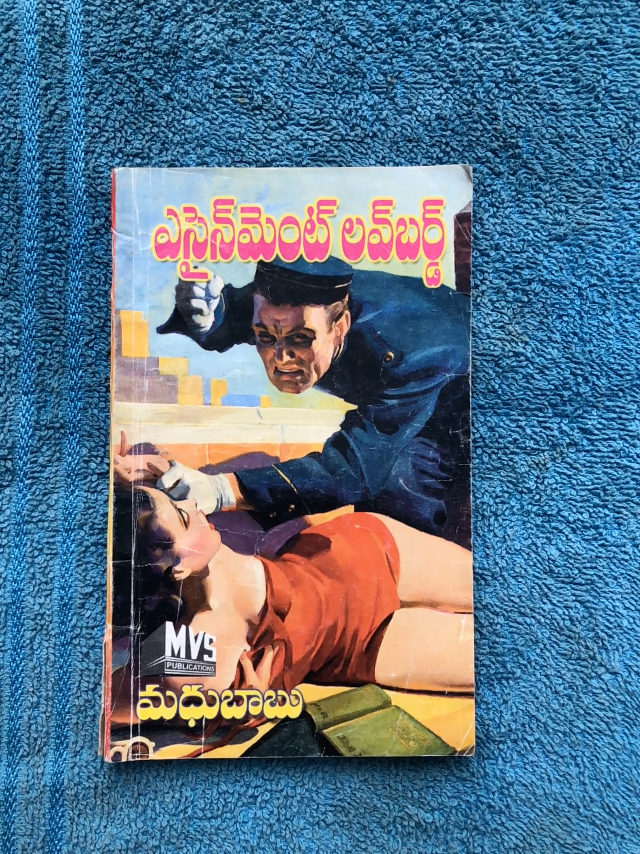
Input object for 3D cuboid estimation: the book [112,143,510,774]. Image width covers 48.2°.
[{"bbox_3d":[-0.002,0.007,0.199,0.100,0.030,0.160,0,87,-2],"label":"book"}]
